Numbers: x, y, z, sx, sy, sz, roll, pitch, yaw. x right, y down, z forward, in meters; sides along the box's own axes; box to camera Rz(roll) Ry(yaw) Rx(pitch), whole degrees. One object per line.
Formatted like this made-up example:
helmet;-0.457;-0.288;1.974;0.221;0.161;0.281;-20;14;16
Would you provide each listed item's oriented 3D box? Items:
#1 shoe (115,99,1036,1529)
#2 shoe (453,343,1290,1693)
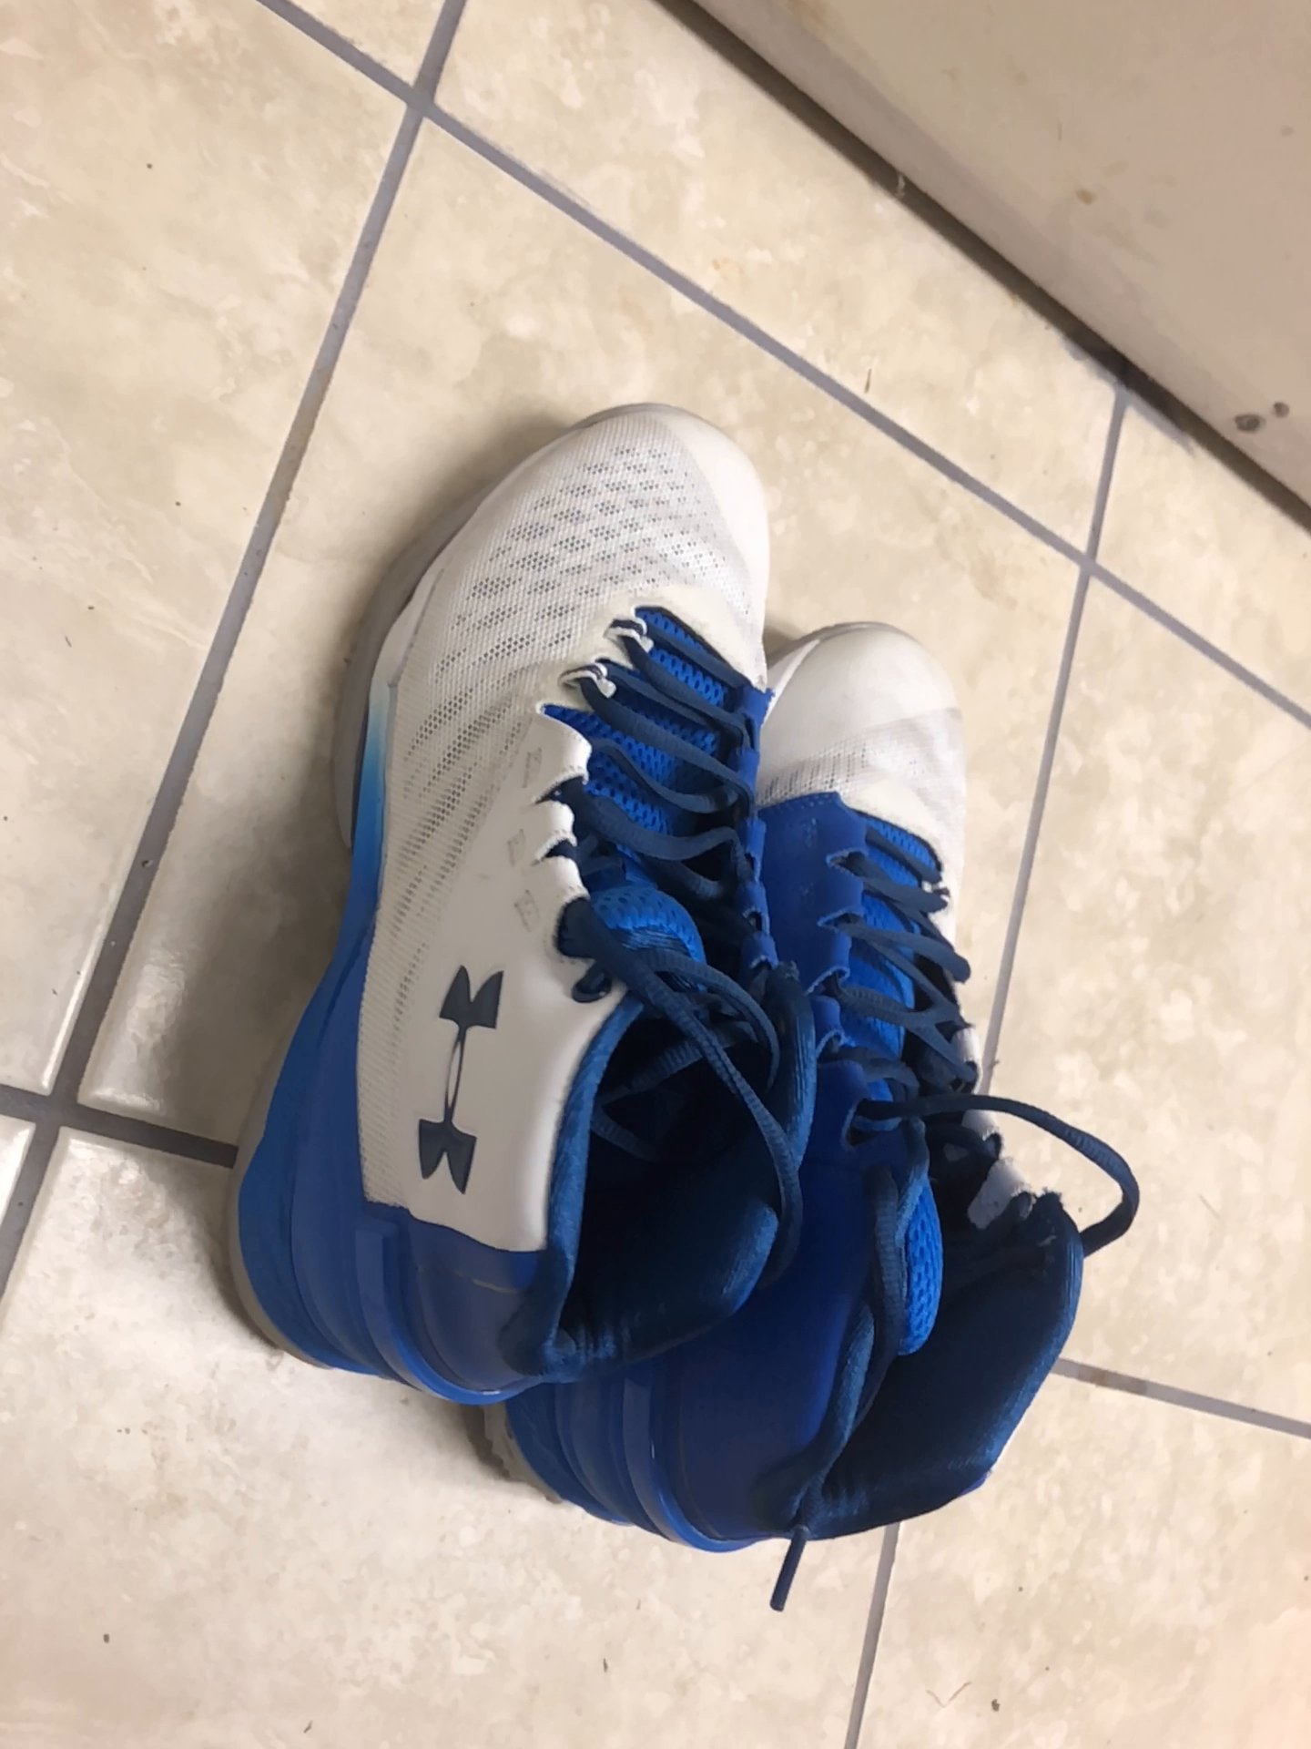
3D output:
shoe;-0.011;-0.016;0.376;0.120;0.100;0.310;26;72;-29
shoe;0.071;0.034;0.423;0.120;0.130;0.322;27;68;-29
